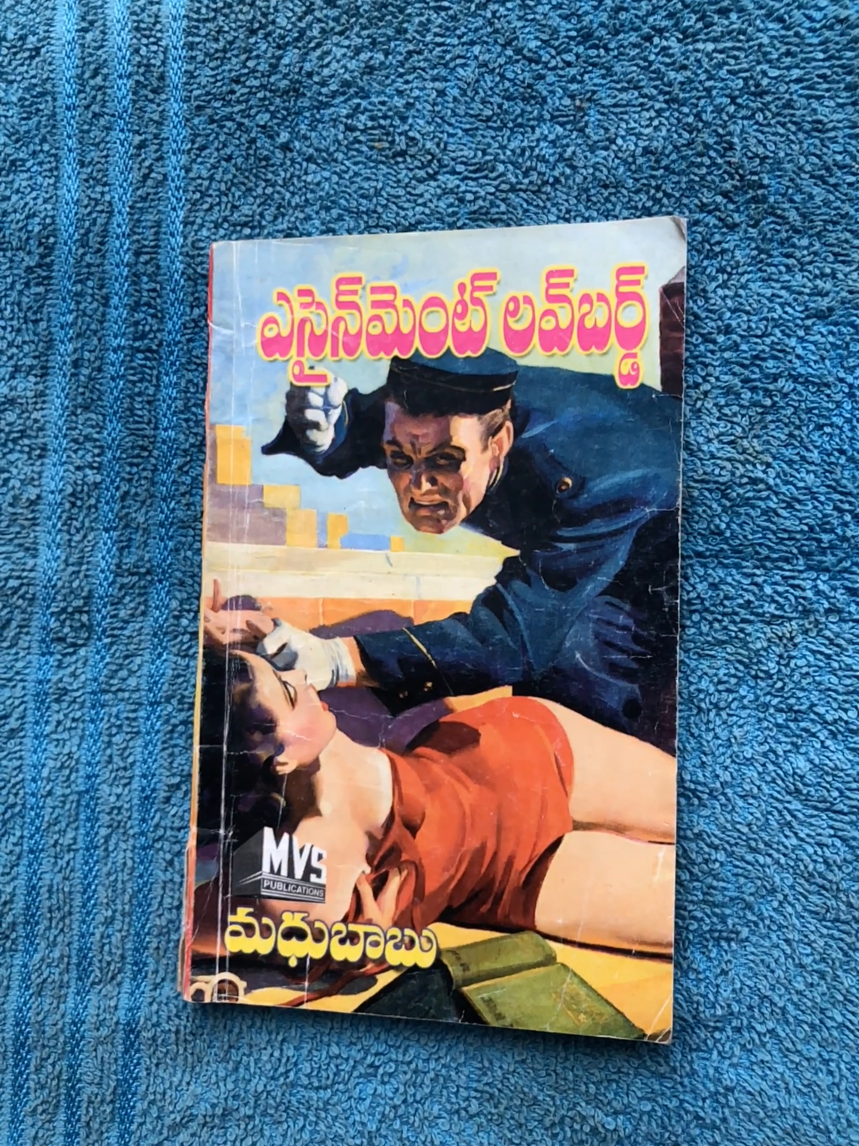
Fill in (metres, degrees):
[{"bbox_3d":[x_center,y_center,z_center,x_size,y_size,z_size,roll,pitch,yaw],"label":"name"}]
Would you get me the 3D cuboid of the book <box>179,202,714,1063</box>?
[{"bbox_3d":[0.004,0.009,0.202,0.100,0.030,0.160,1,87,9],"label":"book"}]
